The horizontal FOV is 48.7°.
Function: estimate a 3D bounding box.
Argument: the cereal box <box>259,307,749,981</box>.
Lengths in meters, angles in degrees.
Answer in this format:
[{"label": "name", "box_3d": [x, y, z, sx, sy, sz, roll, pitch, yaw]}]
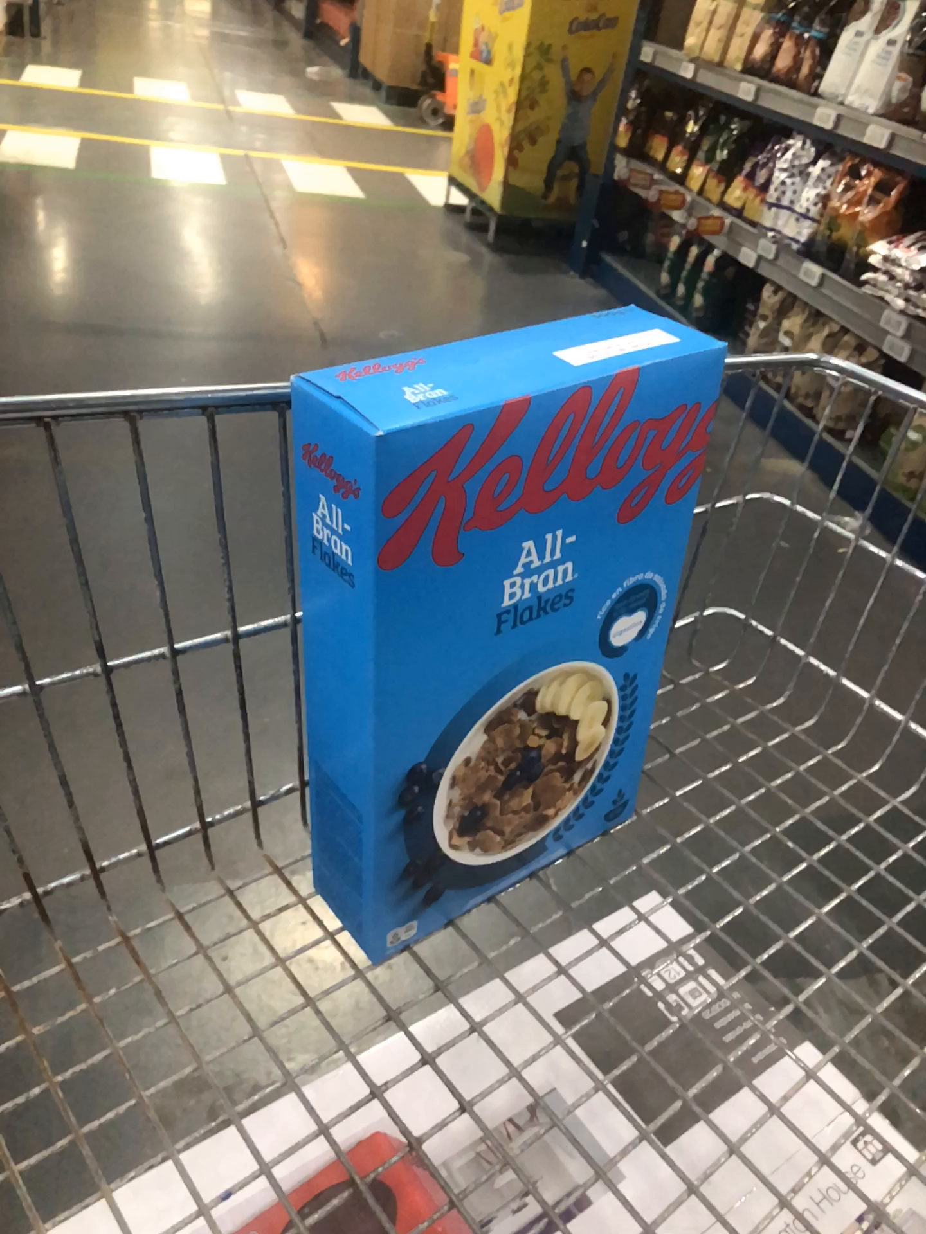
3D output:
[{"label": "cereal box", "box_3d": [0.015, 0.009, 0.492, 0.201, 0.269, 0.080, -21, 40, -35]}]
